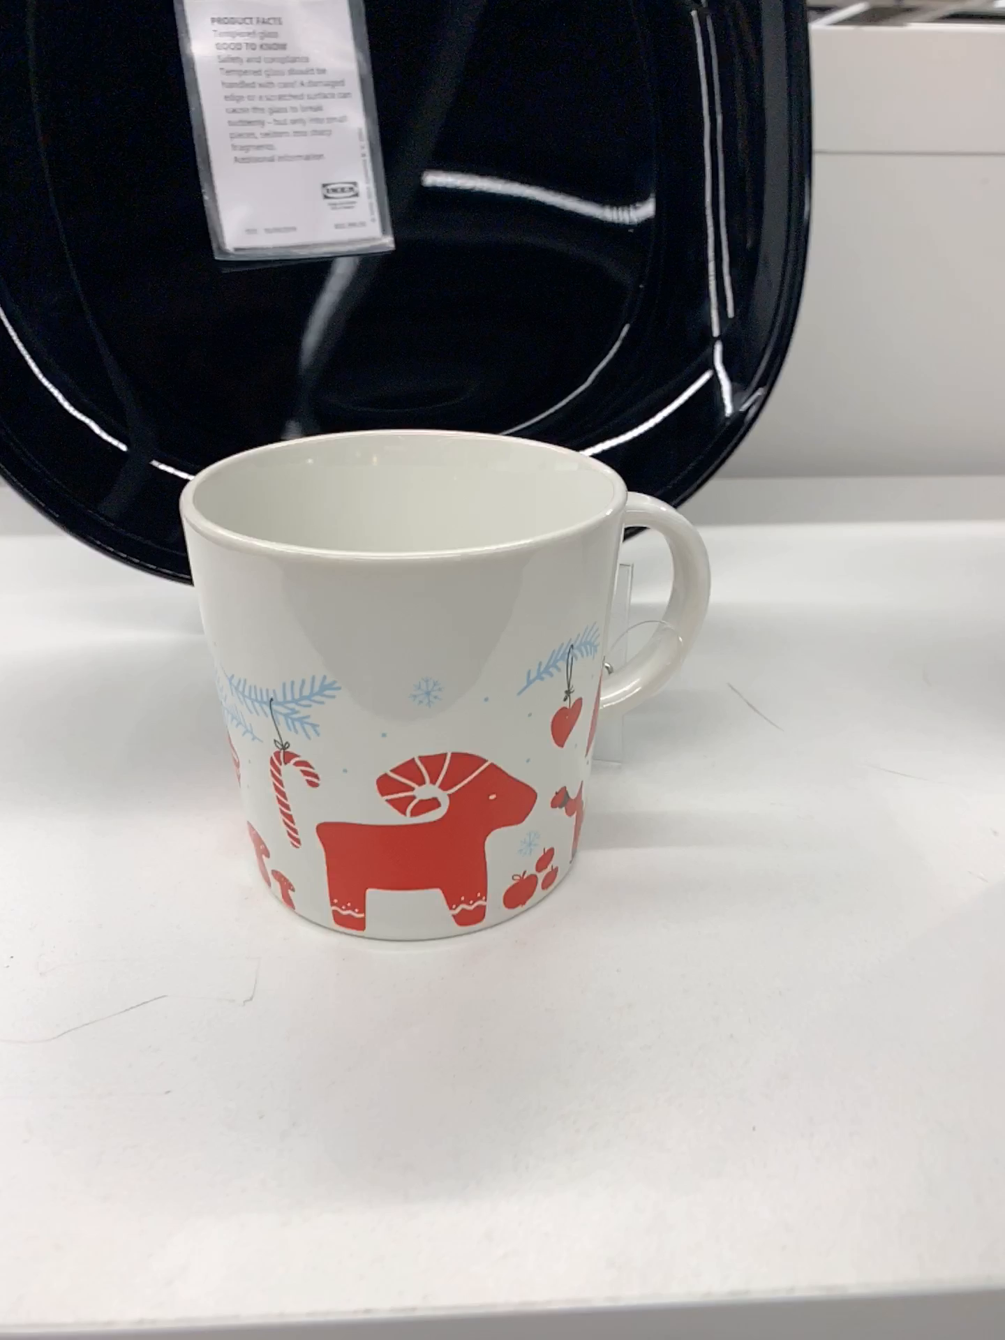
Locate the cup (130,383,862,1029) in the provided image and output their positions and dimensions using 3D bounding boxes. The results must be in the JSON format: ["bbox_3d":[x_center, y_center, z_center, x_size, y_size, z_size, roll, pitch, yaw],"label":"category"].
[{"bbox_3d":[-0.005,-0.005,0.230,0.120,0.090,0.090,-13,28,-26],"label":"cup"}]
